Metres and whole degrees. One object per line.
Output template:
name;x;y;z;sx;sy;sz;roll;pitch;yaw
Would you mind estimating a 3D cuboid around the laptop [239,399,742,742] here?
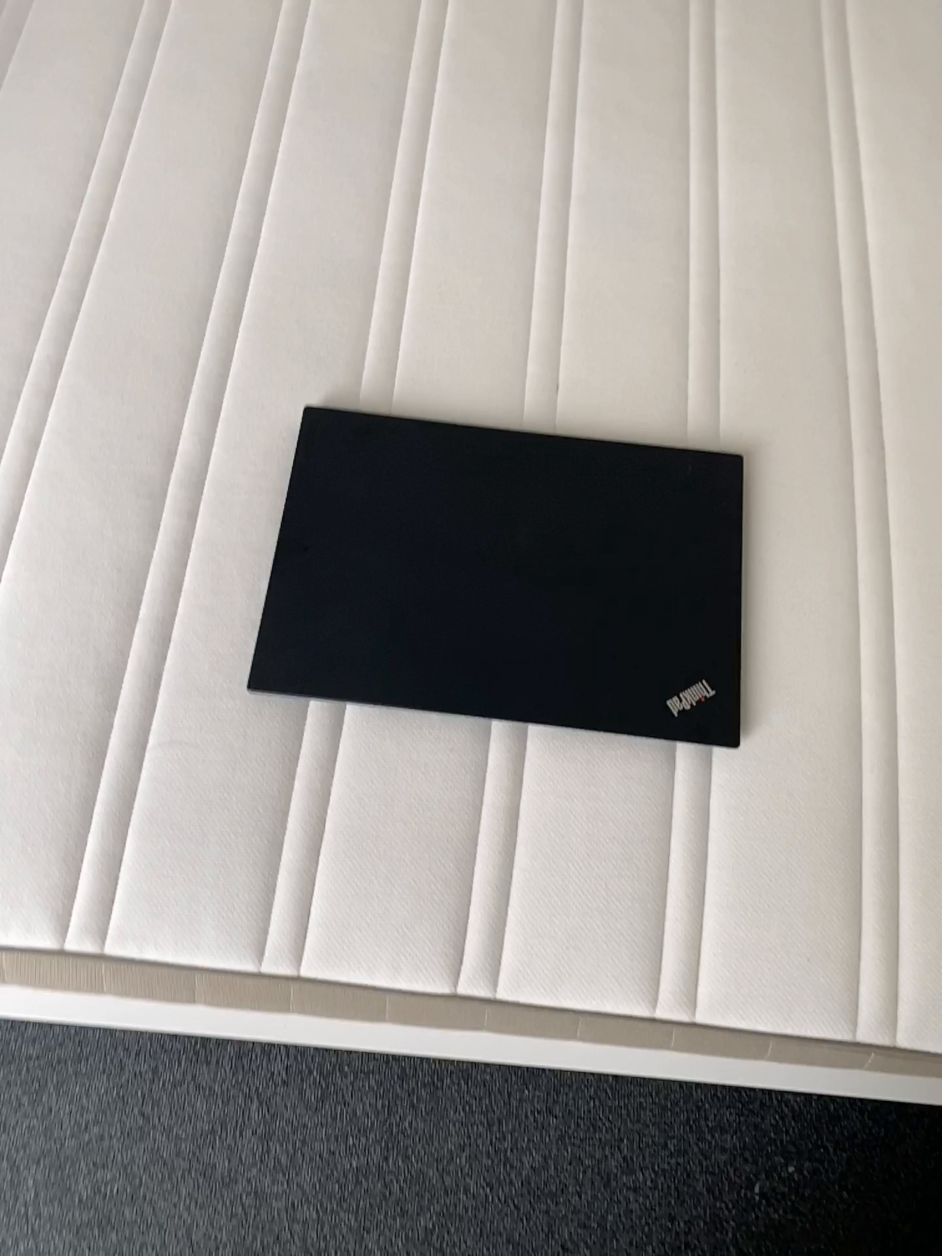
laptop;0.025;-0.047;0.669;0.325;0.012;0.226;6;66;0
